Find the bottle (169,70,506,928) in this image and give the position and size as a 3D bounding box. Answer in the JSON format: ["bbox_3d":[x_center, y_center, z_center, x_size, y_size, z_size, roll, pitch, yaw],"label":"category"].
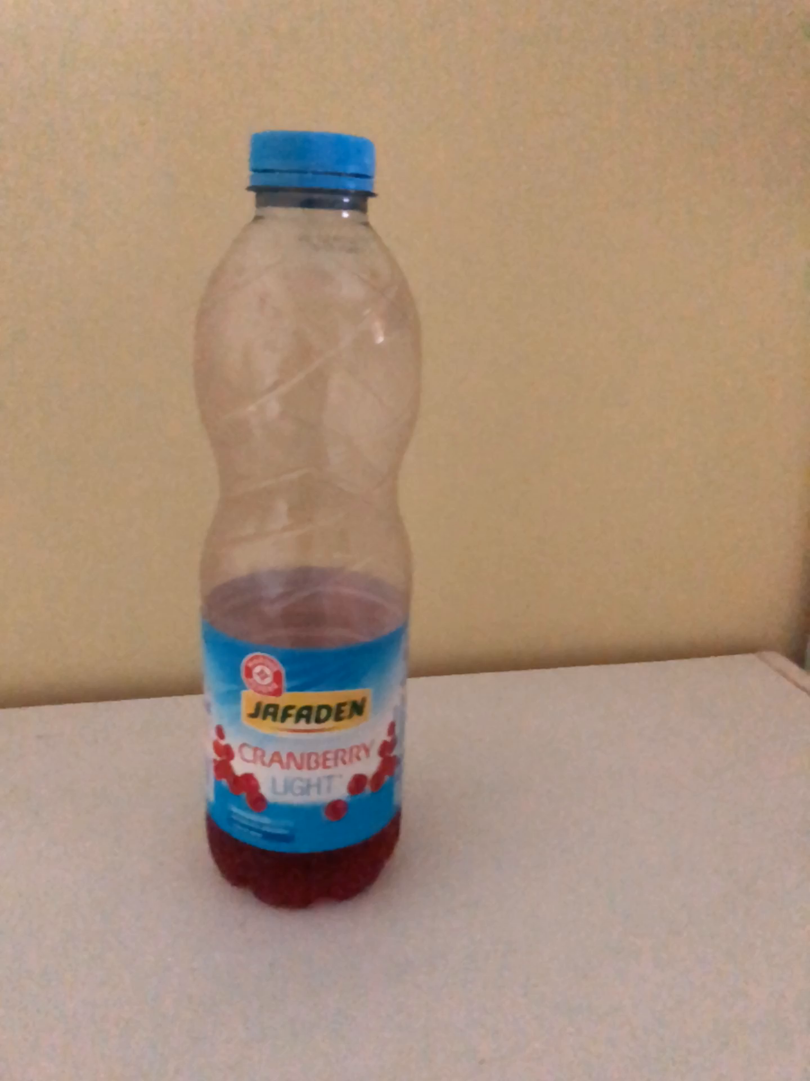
[{"bbox_3d":[-0.029,-0.006,0.316,0.090,0.269,0.080,-1,18,-10],"label":"bottle"}]
